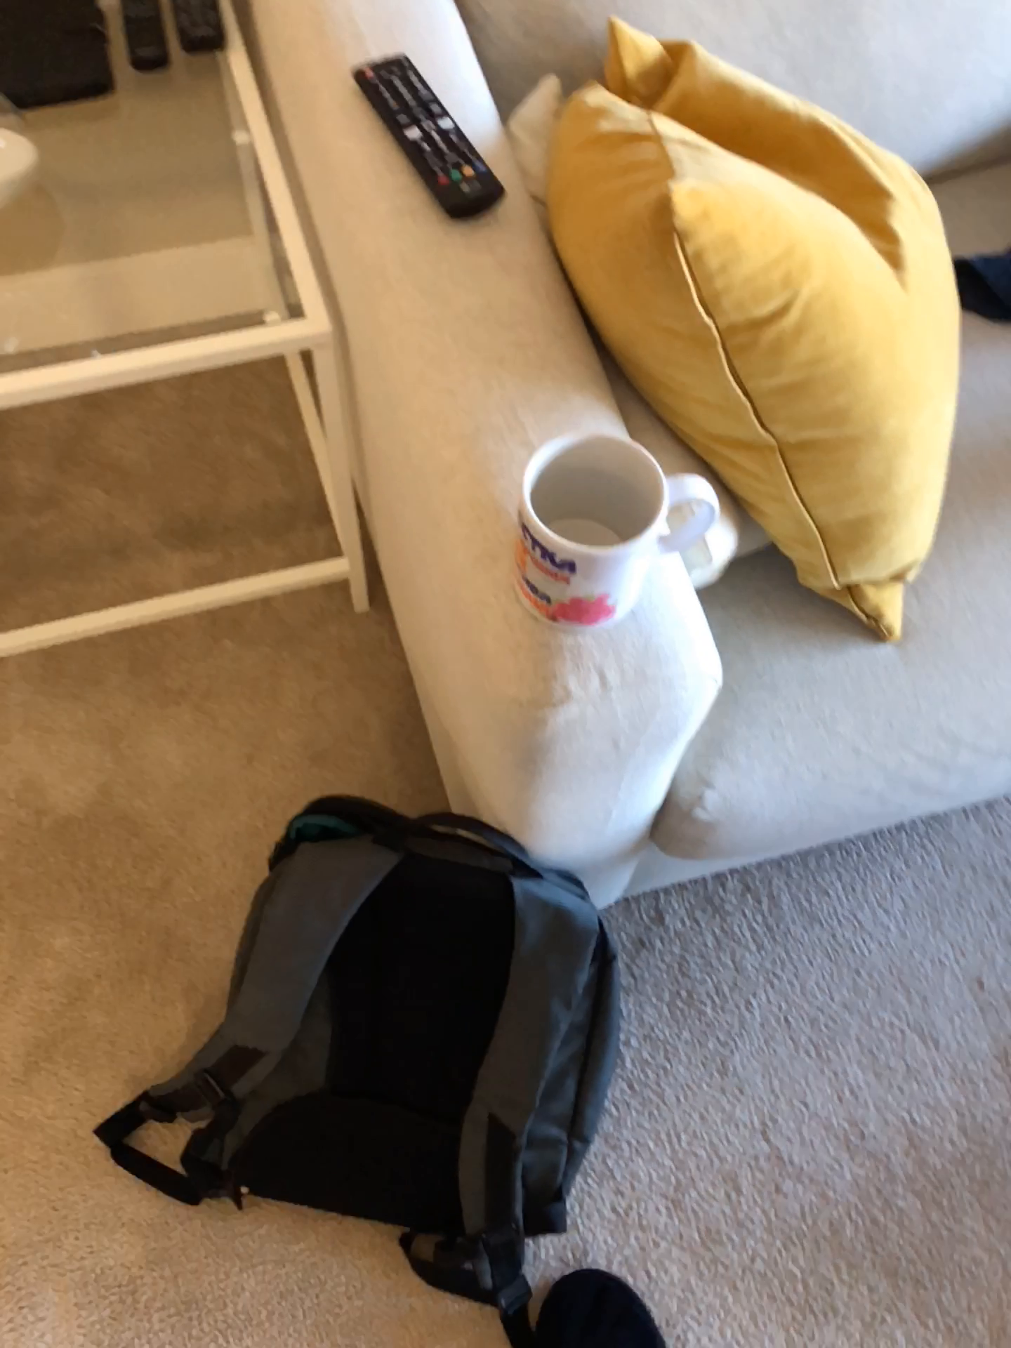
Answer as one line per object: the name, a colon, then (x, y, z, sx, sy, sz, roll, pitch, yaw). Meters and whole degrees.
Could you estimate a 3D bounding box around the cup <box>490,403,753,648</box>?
cup: (0.060, -0.083, 0.637, 0.120, 0.100, 0.080, -10, 65, -8)
